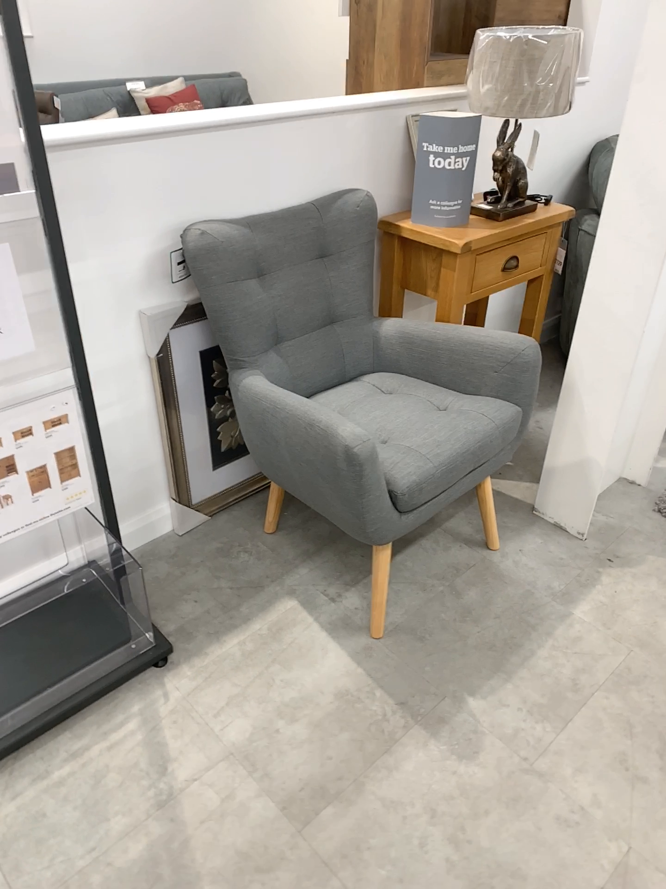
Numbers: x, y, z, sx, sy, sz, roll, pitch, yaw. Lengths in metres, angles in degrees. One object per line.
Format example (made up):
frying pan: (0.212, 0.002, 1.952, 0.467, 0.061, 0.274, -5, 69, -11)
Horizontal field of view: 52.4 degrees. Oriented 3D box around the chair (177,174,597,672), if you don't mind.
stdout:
chair: (0.119, -0.102, 1.648, 0.711, 0.878, 0.541, -26, 42, -36)
